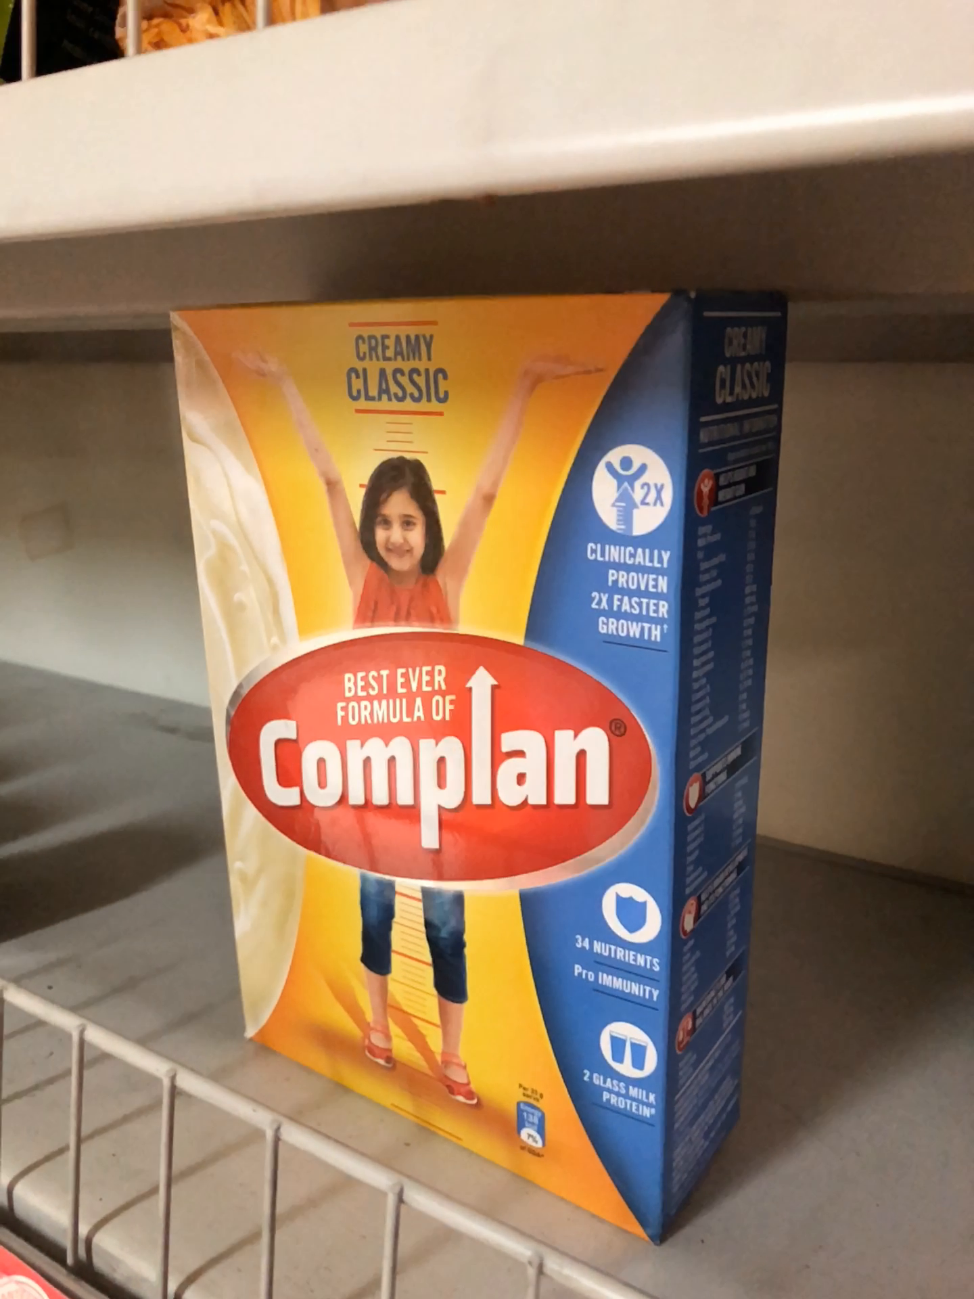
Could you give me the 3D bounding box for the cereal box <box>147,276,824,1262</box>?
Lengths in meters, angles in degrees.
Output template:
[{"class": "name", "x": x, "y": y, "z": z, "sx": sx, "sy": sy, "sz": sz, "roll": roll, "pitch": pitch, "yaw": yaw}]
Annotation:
[{"class": "cereal box", "x": -0.006, "y": 0.018, "z": 0.268, "sx": 0.150, "sy": 0.199, "sz": 0.050, "roll": 9, "pitch": 17, "yaw": 34}]
